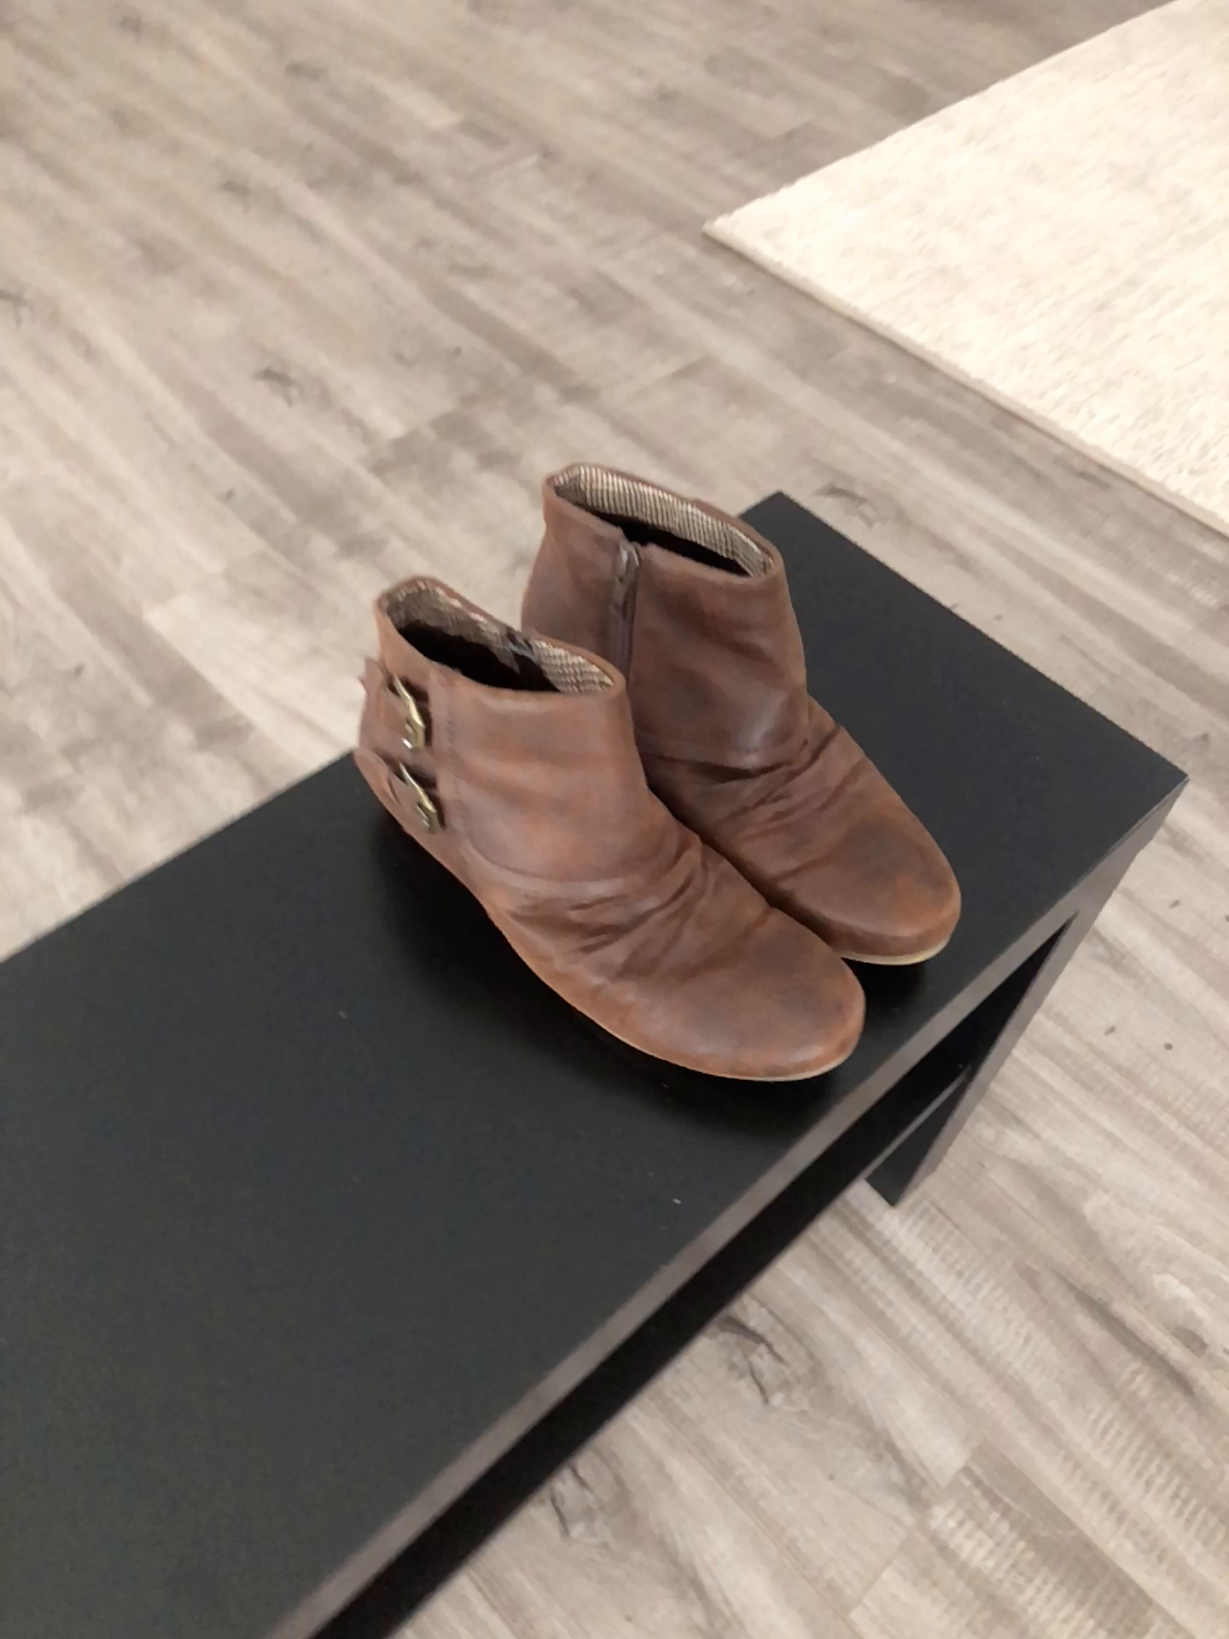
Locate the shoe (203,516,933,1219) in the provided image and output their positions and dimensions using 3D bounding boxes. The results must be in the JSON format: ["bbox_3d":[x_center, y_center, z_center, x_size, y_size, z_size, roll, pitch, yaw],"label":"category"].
[{"bbox_3d":[-0.024,0.014,0.499,0.240,0.130,0.090,34,57,20],"label":"shoe"}]

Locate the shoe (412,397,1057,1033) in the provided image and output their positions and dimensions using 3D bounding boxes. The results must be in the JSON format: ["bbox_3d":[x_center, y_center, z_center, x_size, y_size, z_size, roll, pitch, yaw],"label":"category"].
[{"bbox_3d":[0.034,-0.048,0.538,0.090,0.110,0.241,-36,62,-27],"label":"shoe"}]
